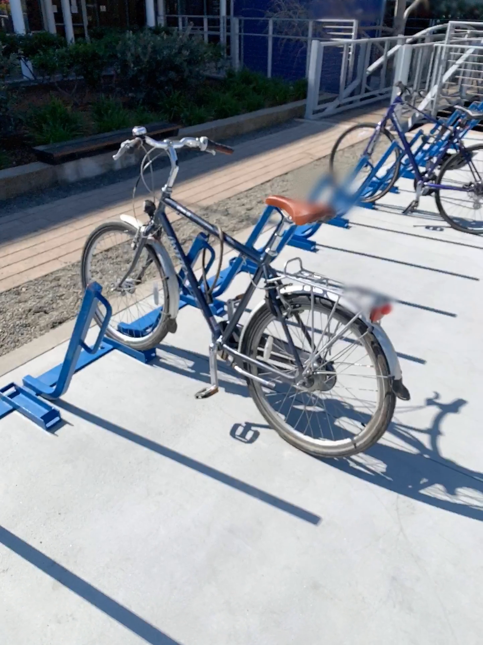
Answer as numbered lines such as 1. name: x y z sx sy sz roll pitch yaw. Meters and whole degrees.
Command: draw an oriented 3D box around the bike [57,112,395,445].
1. bike: -0.088 -0.254 2.010 1.063 0.915 0.592 24 39 31
